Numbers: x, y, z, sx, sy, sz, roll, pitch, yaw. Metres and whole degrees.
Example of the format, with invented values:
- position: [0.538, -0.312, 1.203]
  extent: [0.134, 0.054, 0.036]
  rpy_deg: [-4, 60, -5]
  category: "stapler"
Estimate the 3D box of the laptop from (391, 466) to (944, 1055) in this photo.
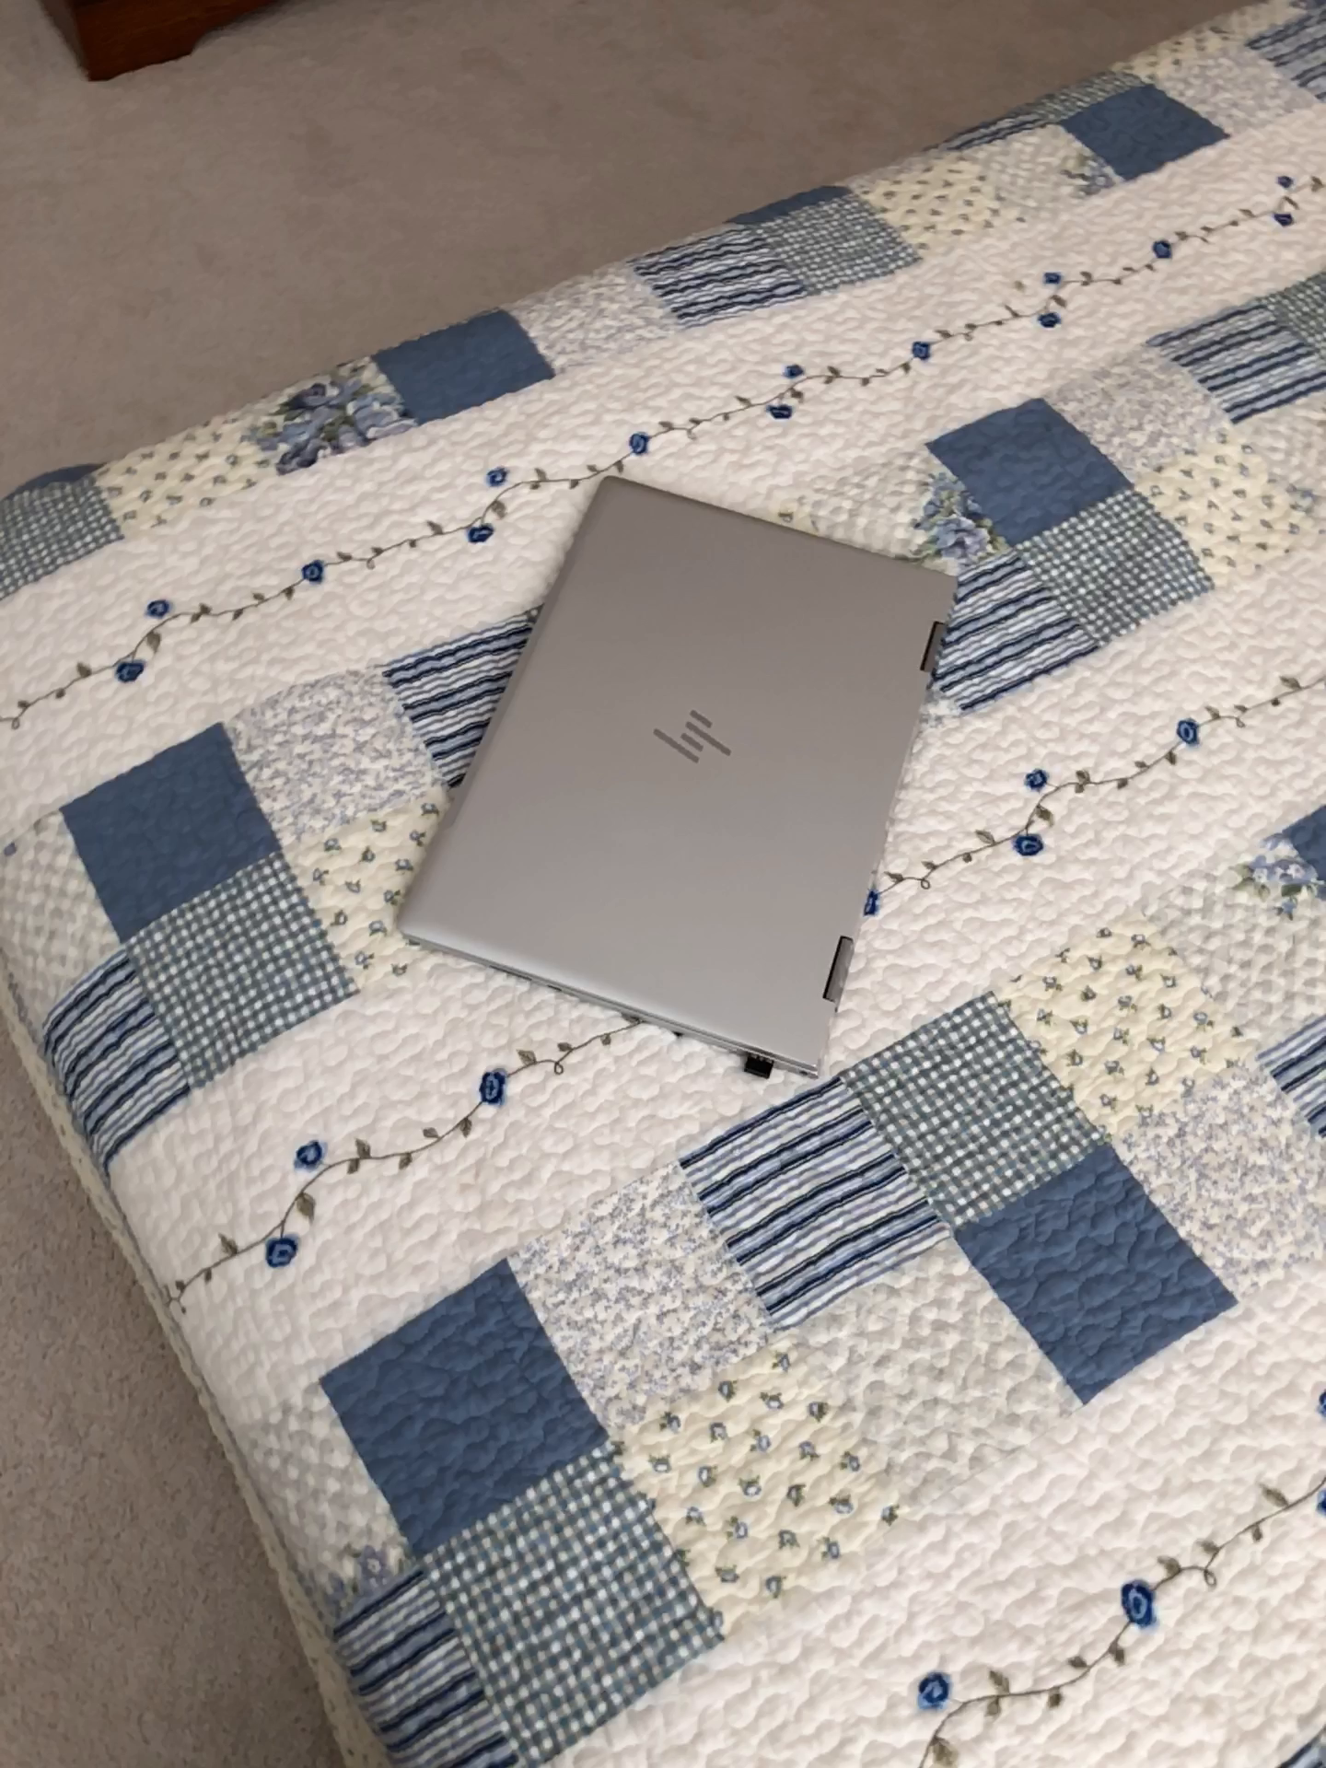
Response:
- position: [0.019, -0.099, 0.950]
  extent: [0.256, 0.011, 0.386]
  rpy_deg: [18, 61, 3]
  category: "laptop"
